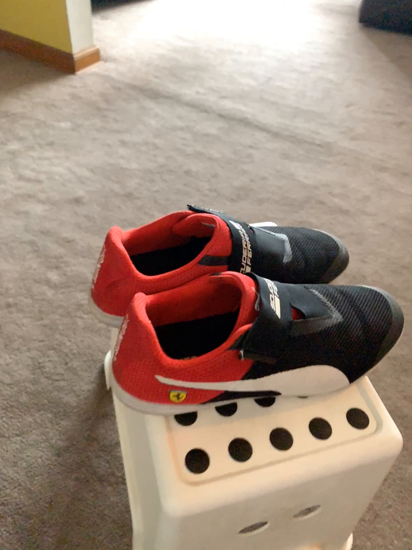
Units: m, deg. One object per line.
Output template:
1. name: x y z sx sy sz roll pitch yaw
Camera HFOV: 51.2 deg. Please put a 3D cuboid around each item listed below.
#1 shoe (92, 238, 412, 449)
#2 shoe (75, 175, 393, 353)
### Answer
1. shoe: 0.057 0.055 0.404 0.300 0.099 0.101 -9 48 -15
2. shoe: 0.025 -0.020 0.463 0.300 0.099 0.111 -9 48 -15
